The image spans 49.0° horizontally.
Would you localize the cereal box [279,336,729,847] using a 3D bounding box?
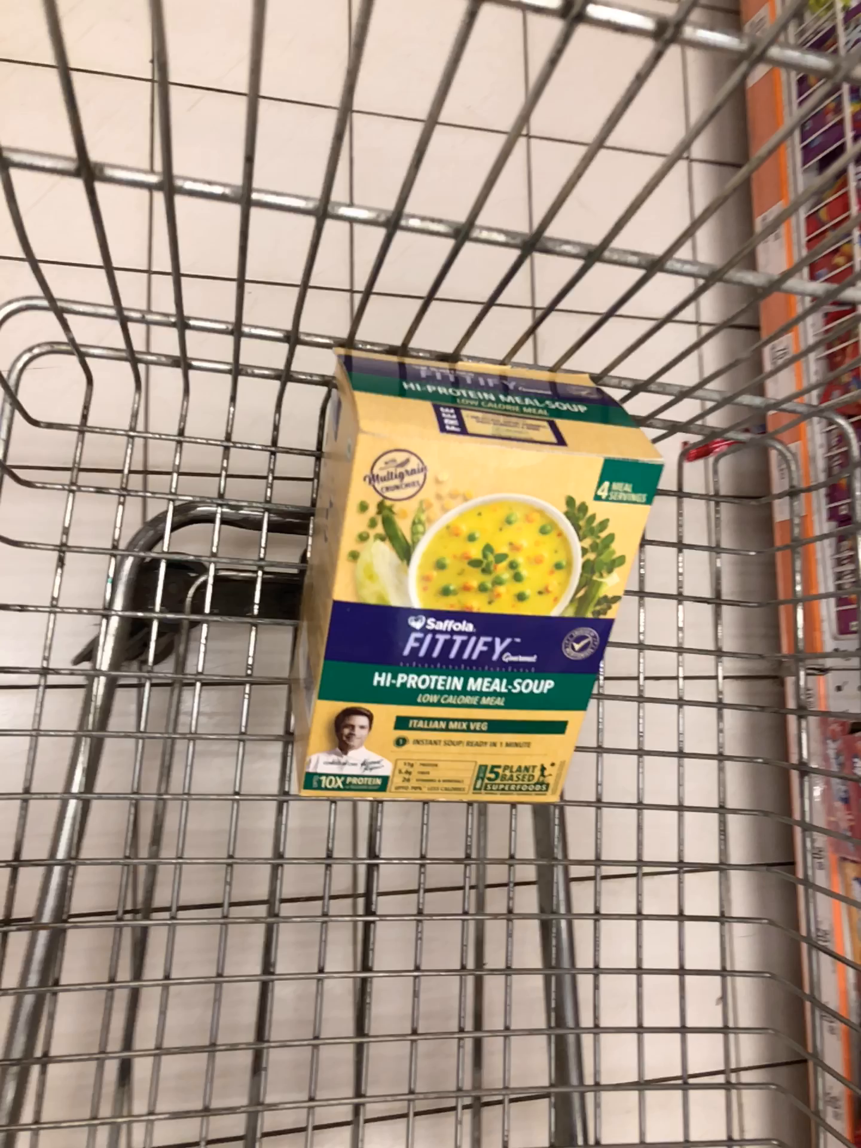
[{"bbox_3d":[0.015,0.012,0.388,0.130,0.090,0.180,5,117,-14],"label":"cereal box"}]
